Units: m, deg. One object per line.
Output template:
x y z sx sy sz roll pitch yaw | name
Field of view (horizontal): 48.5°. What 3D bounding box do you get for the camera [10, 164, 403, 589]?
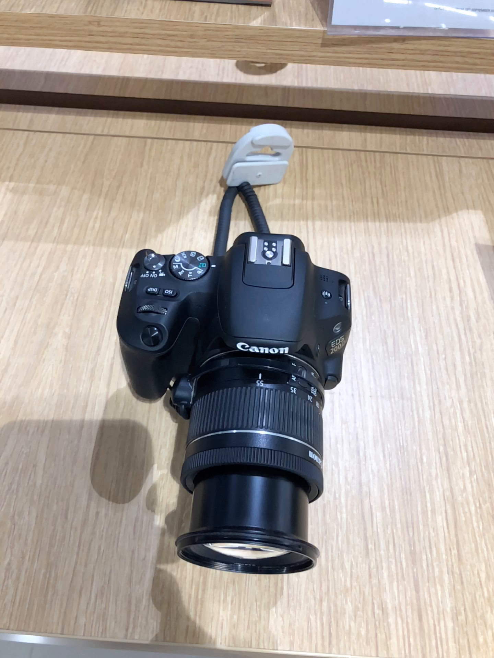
-0.009 0.020 0.253 0.120 0.099 0.161 4 56 0 | camera
